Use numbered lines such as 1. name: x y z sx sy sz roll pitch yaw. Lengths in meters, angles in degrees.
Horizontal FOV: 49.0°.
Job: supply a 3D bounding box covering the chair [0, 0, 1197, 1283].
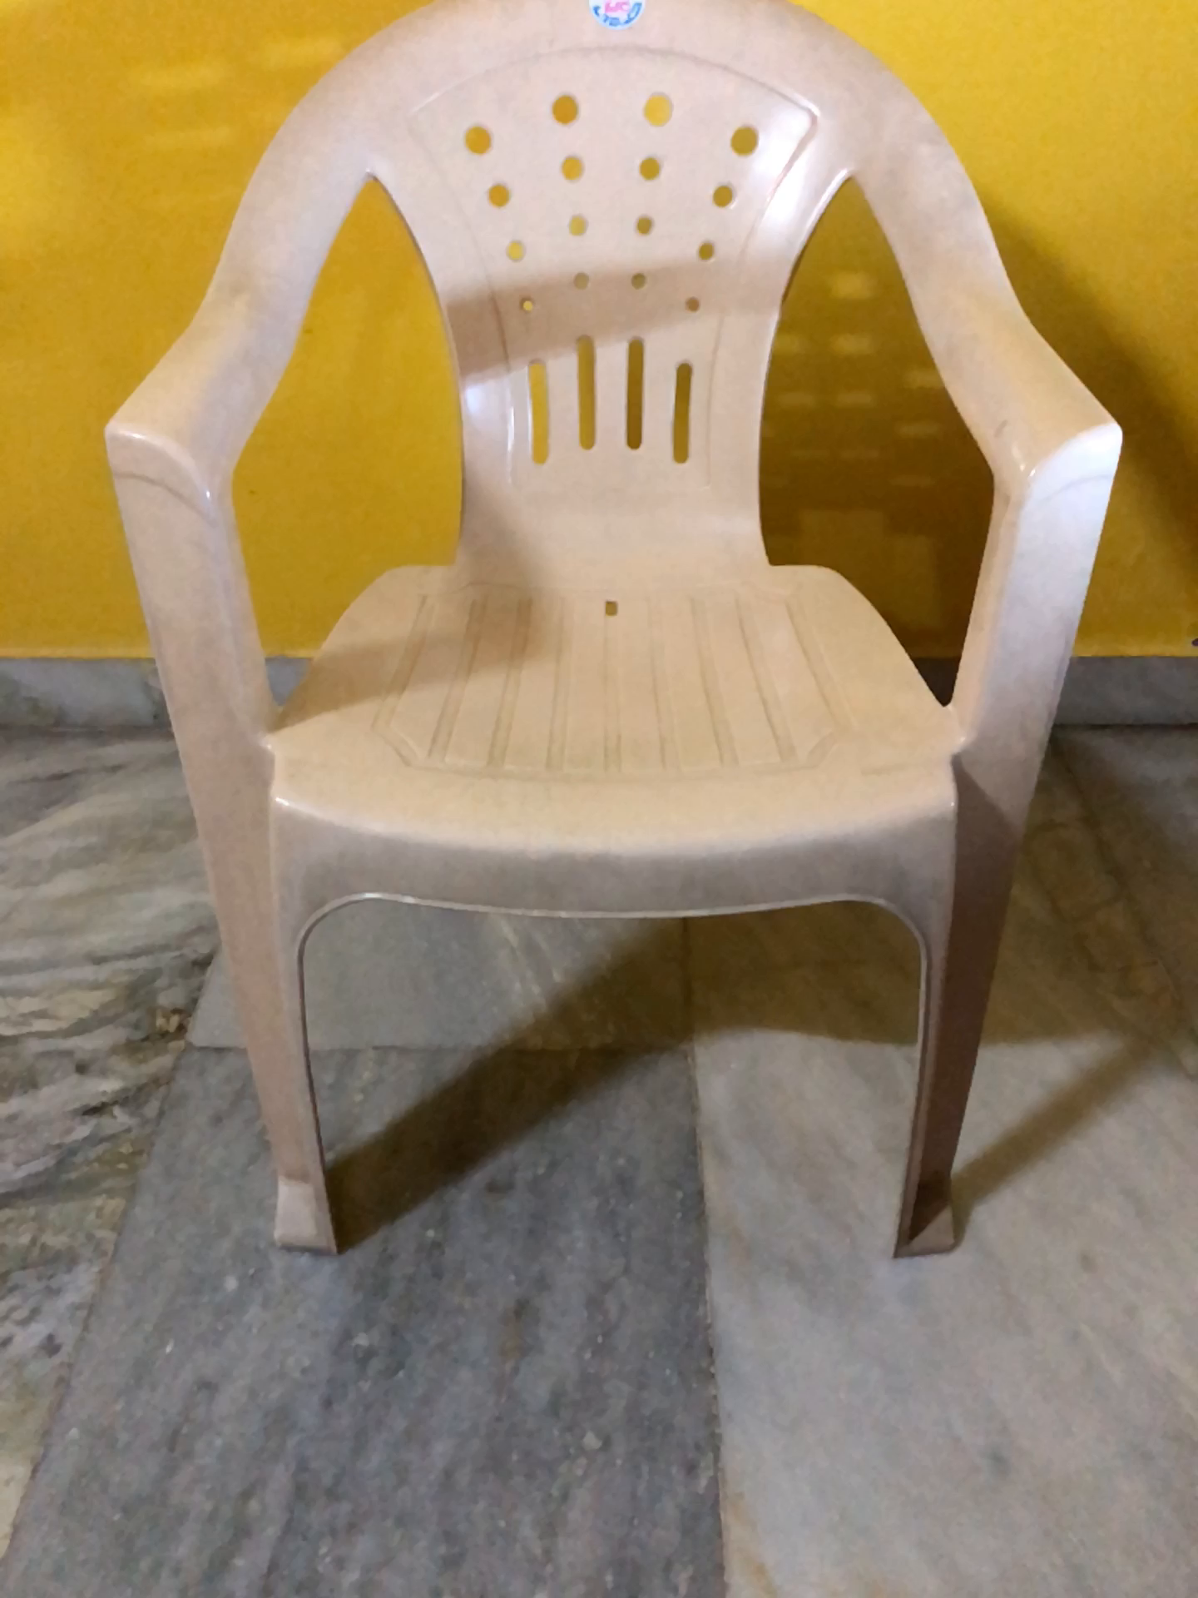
1. chair: 0.021 -0.144 0.927 0.530 0.784 0.564 0 36 0
